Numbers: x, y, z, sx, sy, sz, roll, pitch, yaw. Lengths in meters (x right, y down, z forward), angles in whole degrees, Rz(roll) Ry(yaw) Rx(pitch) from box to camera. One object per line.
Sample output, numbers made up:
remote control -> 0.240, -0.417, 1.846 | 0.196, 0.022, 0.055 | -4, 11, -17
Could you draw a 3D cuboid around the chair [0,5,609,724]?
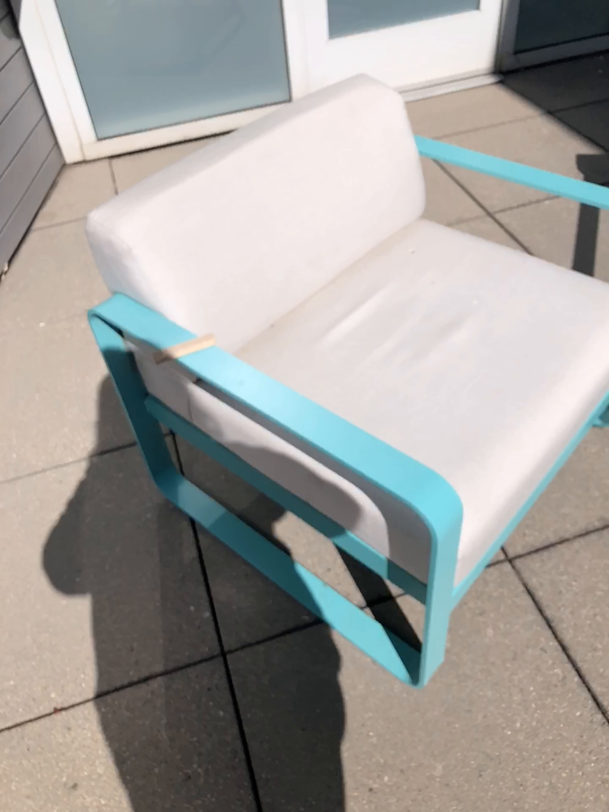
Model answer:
chair -> 0.129, -0.175, 1.323 | 0.872, 0.766, 0.902 | 27, 54, 30
